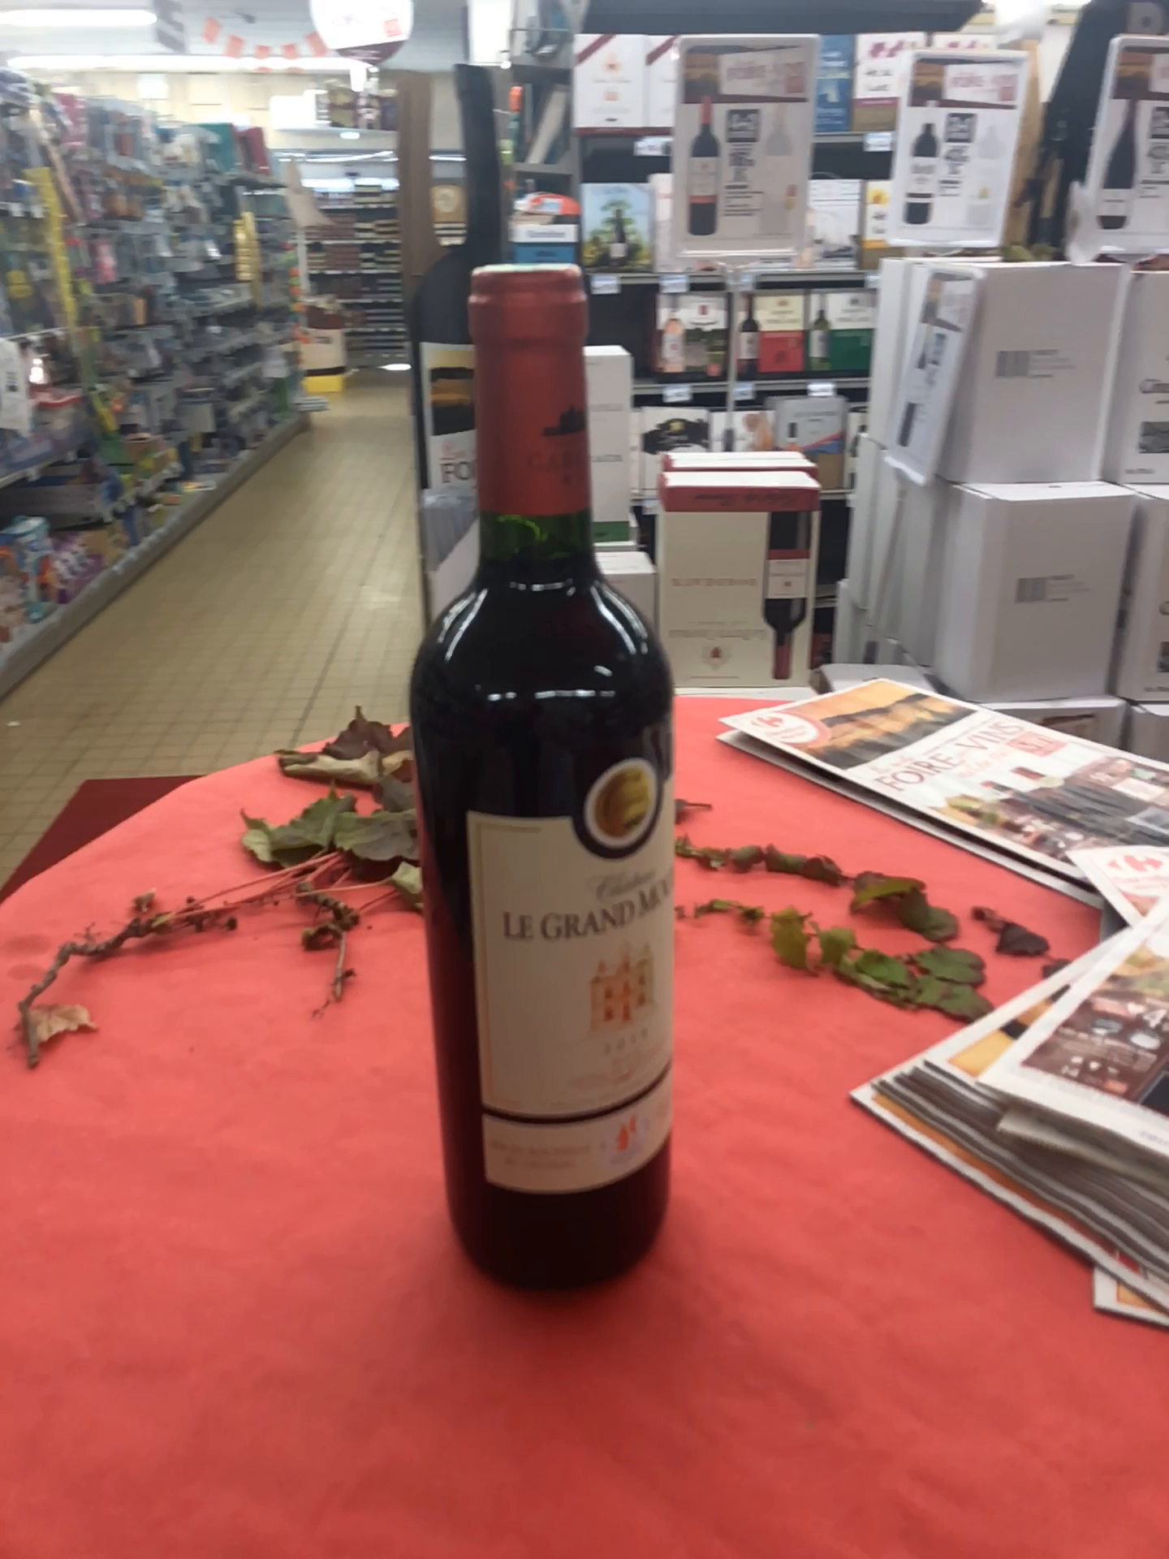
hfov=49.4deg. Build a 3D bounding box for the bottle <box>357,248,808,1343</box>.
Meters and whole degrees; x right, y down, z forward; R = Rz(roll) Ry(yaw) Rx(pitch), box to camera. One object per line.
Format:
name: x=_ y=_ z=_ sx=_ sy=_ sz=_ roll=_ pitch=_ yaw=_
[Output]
bottle: x=0.000 y=0.006 z=0.372 sx=0.080 sy=0.298 sz=0.080 roll=0 pitch=22 yaw=0
